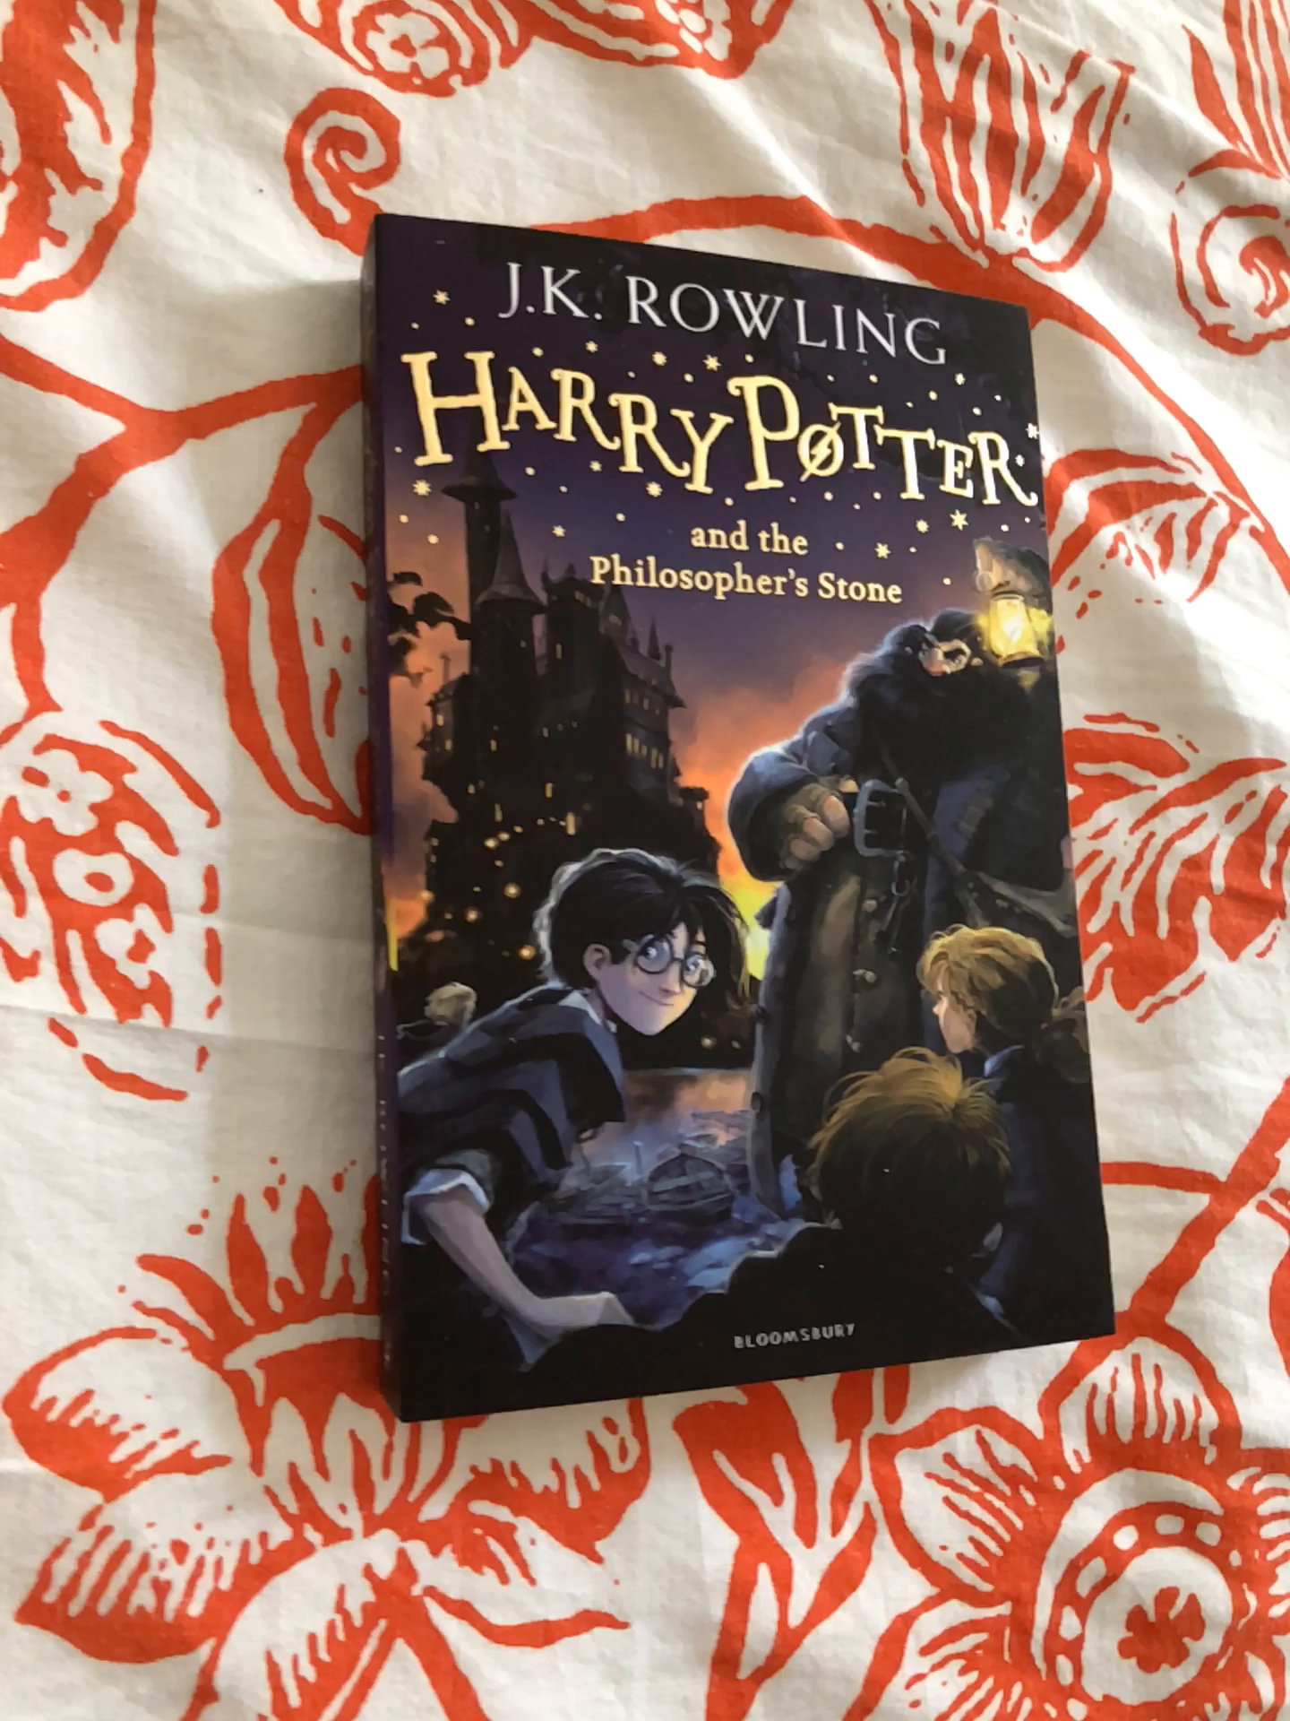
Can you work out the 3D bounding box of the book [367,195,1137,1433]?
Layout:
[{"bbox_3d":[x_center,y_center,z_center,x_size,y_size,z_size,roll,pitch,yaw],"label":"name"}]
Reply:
[{"bbox_3d":[0.018,-0.010,0.247,0.127,0.020,0.189,1,83,-19],"label":"book"}]
